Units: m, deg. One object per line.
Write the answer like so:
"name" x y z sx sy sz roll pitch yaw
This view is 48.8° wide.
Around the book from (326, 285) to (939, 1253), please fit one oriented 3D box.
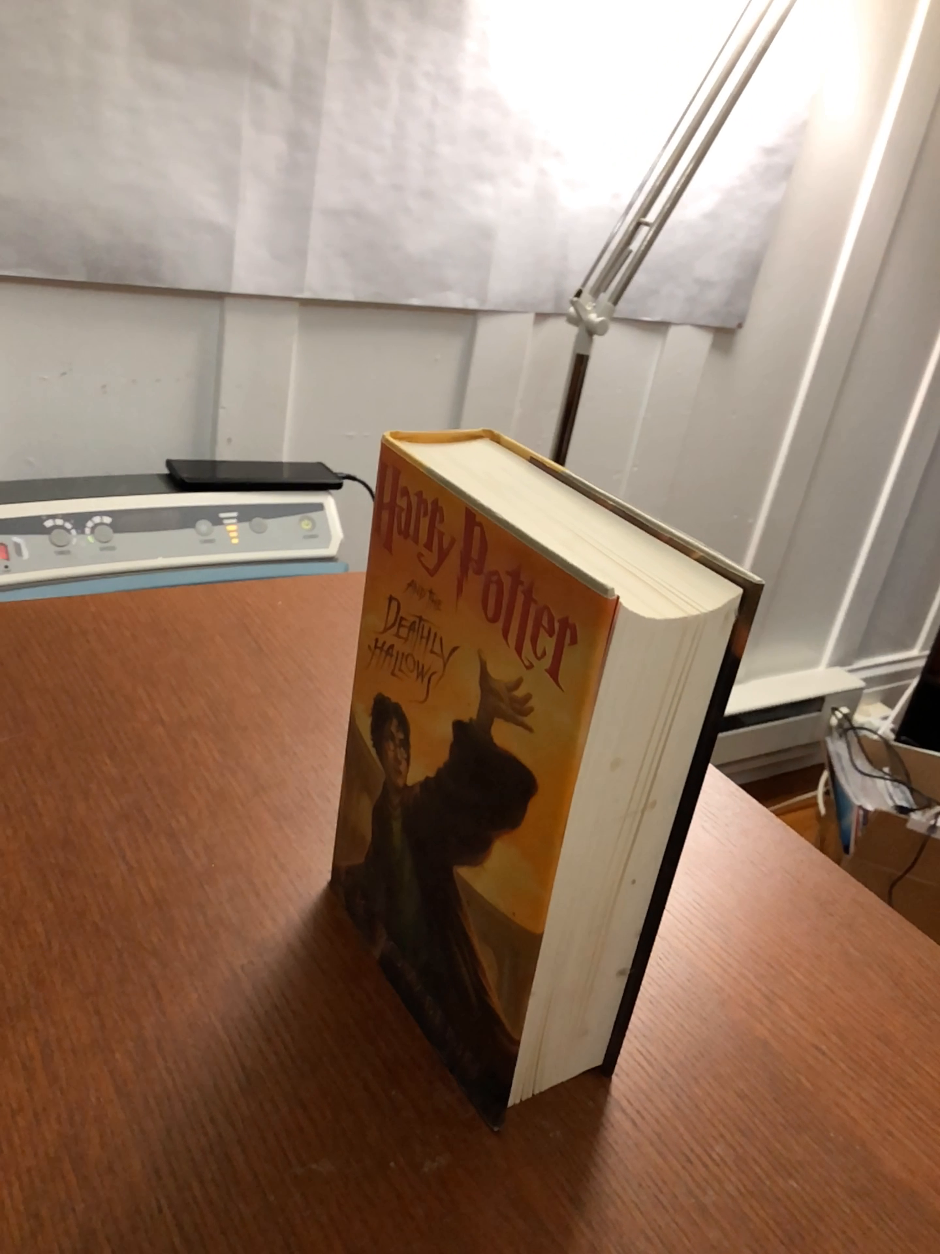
"book" 0.036 0.049 0.394 0.070 0.298 0.211 -8 31 -32
